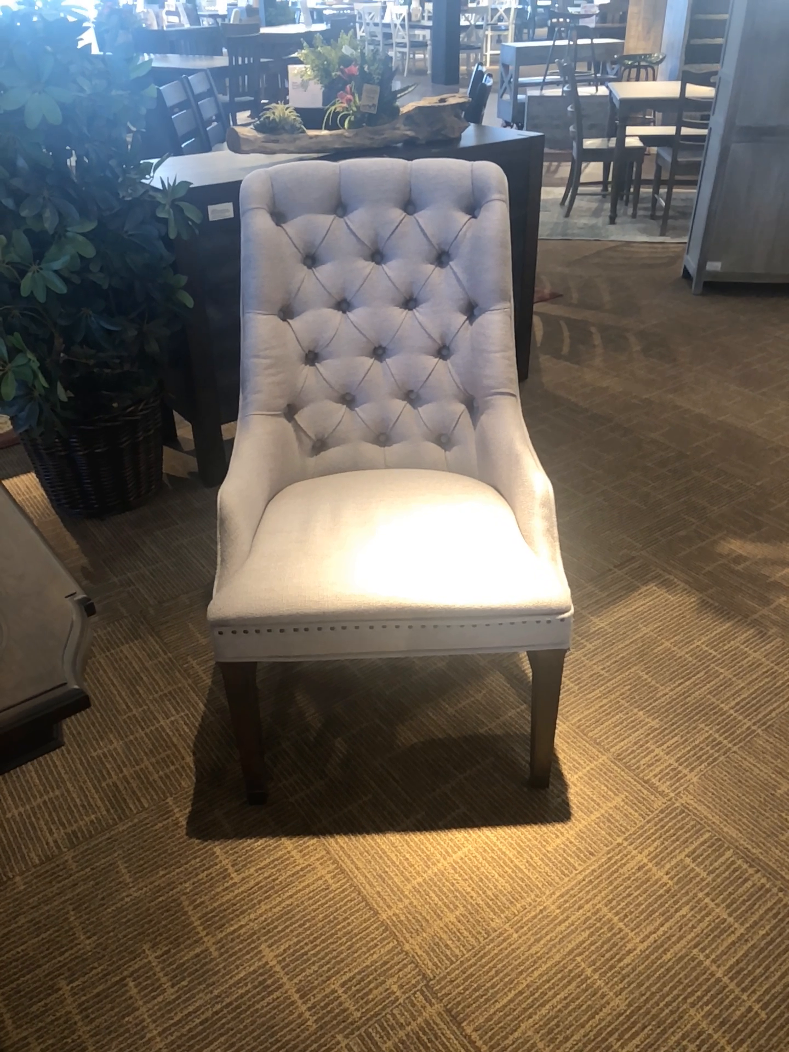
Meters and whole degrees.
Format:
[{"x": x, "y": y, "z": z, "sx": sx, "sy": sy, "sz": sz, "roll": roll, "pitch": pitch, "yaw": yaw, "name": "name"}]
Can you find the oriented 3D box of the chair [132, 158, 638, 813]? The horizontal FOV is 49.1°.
[{"x": -0.009, "y": -0.101, "z": 1.682, "sx": 0.640, "sy": 1.015, "sz": 0.764, "roll": -1, "pitch": 32, "yaw": 0, "name": "chair"}]
